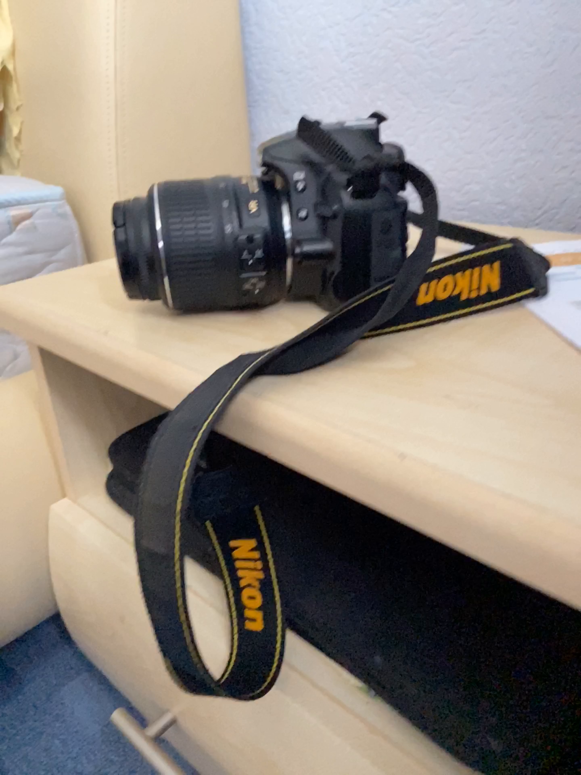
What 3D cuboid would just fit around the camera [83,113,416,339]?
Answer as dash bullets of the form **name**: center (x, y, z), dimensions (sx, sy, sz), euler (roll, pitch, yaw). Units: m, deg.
- **camera**: center (-0.024, -0.101, 0.343), dimensions (0.152, 0.091, 0.119), euler (-7, 27, -8)
